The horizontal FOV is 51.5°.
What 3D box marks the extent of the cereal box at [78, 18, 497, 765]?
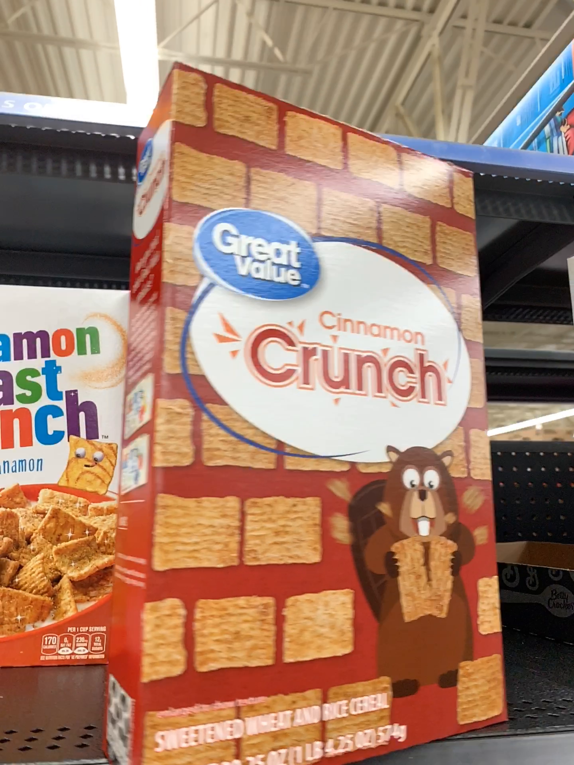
[{"bbox_3d":[0.008,0.007,0.320,0.190,0.331,0.070,9,-16,-32],"label":"cereal box"}]
